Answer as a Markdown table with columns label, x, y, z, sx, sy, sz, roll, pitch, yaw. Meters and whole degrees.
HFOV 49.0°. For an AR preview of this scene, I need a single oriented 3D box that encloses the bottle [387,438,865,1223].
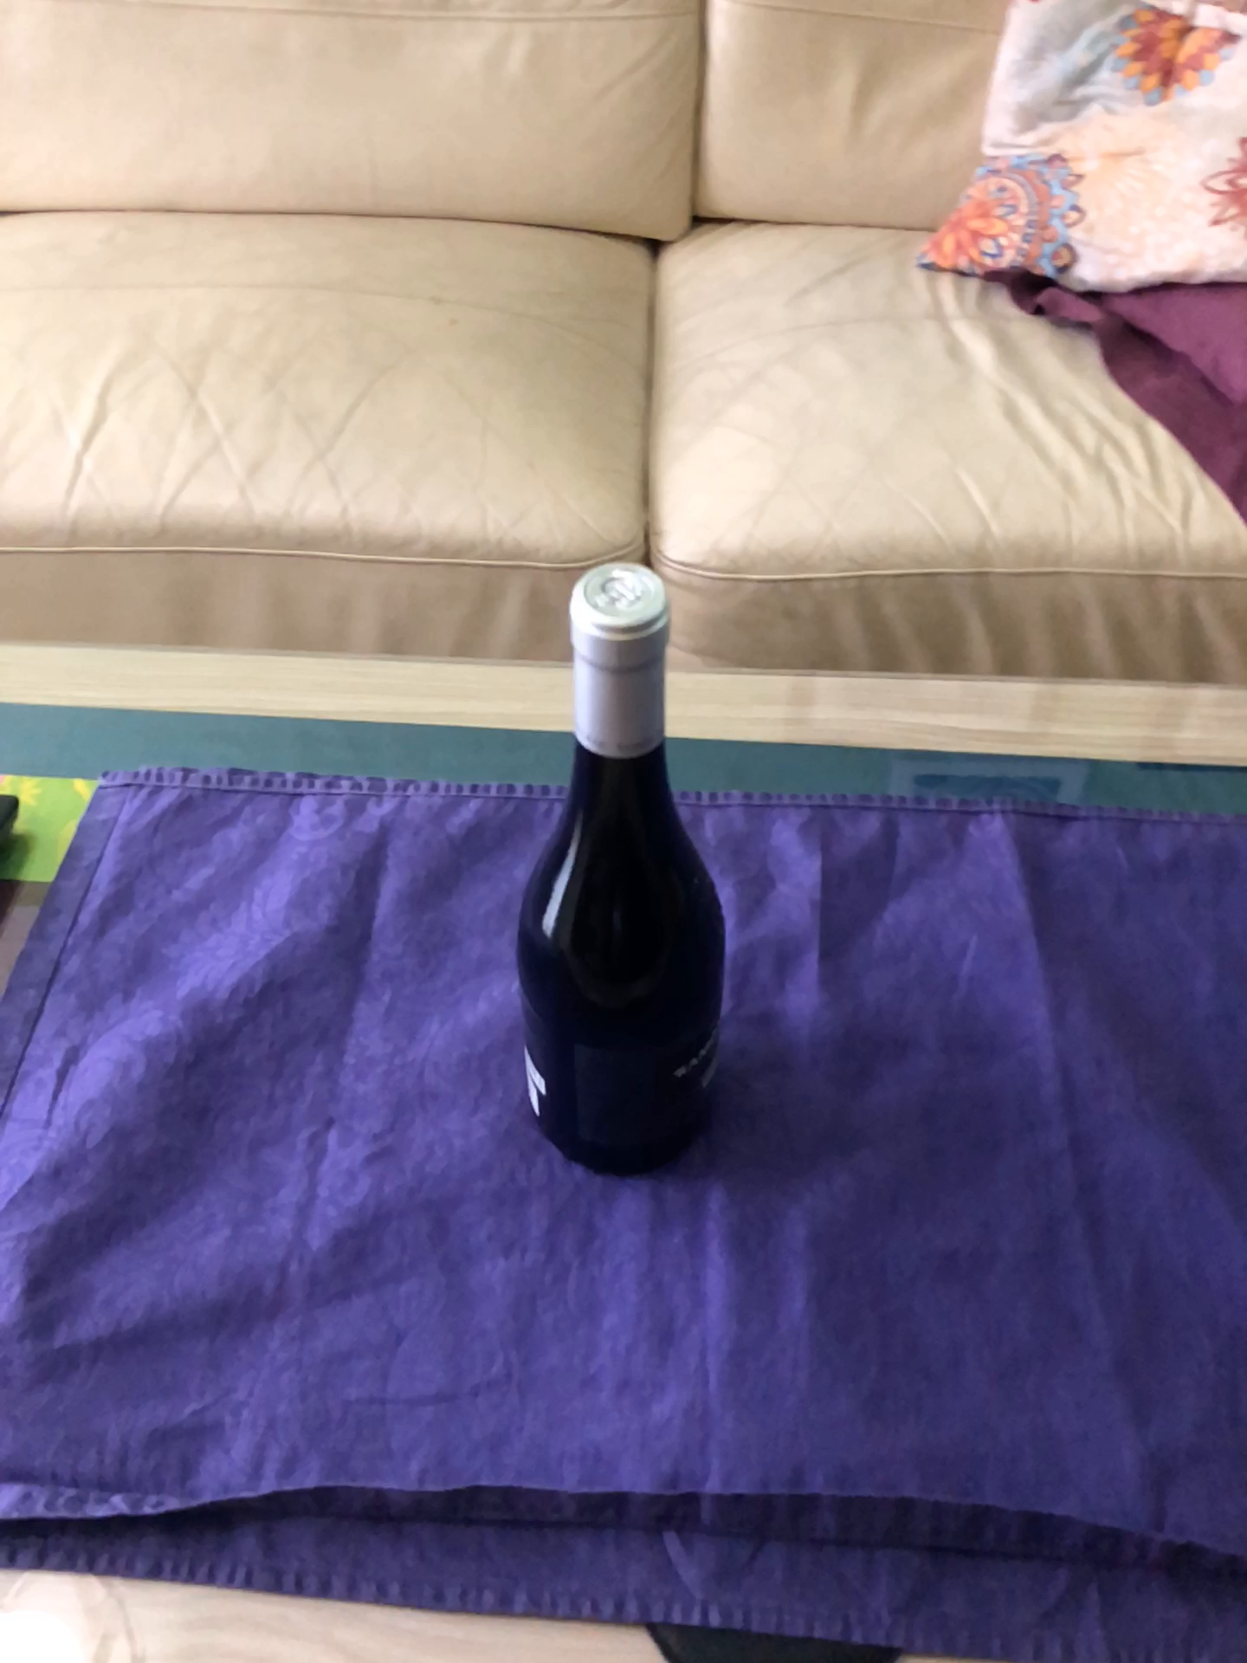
| label | x | y | z | sx | sy | sz | roll | pitch | yaw |
| --- | --- | --- | --- | --- | --- | --- | --- | --- | --- |
| bottle | 0.004 | 0.016 | 0.483 | 0.100 | 0.269 | 0.100 | 0 | 49 | 0 |
